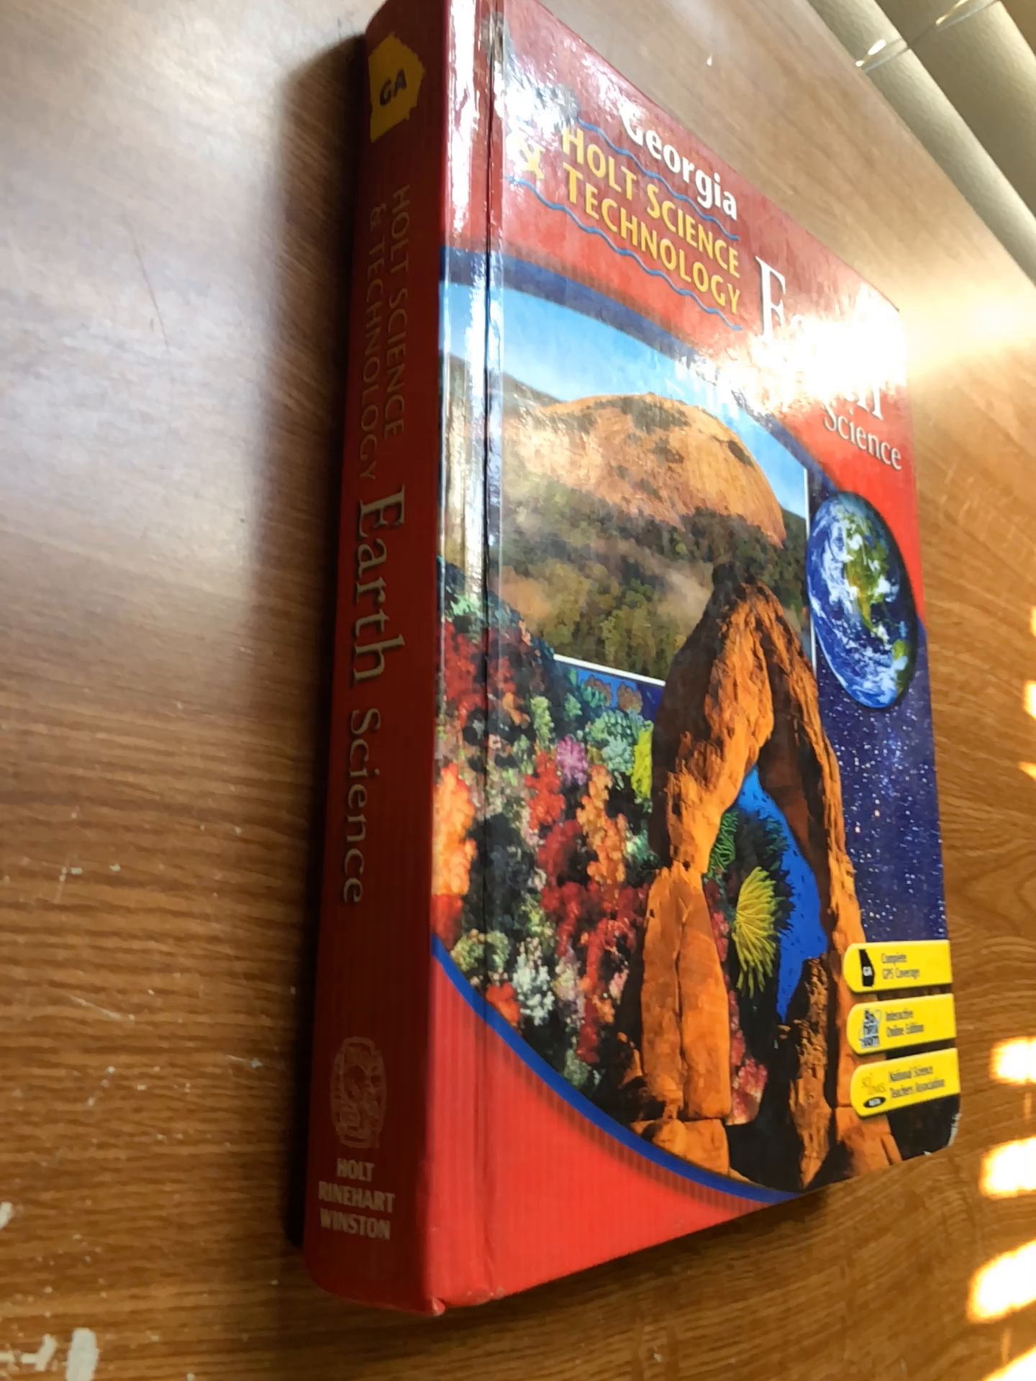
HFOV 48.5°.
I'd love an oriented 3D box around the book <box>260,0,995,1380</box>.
[{"bbox_3d":[0.045,-0.004,0.296,0.215,0.050,0.265,12,73,-46],"label":"book"}]
